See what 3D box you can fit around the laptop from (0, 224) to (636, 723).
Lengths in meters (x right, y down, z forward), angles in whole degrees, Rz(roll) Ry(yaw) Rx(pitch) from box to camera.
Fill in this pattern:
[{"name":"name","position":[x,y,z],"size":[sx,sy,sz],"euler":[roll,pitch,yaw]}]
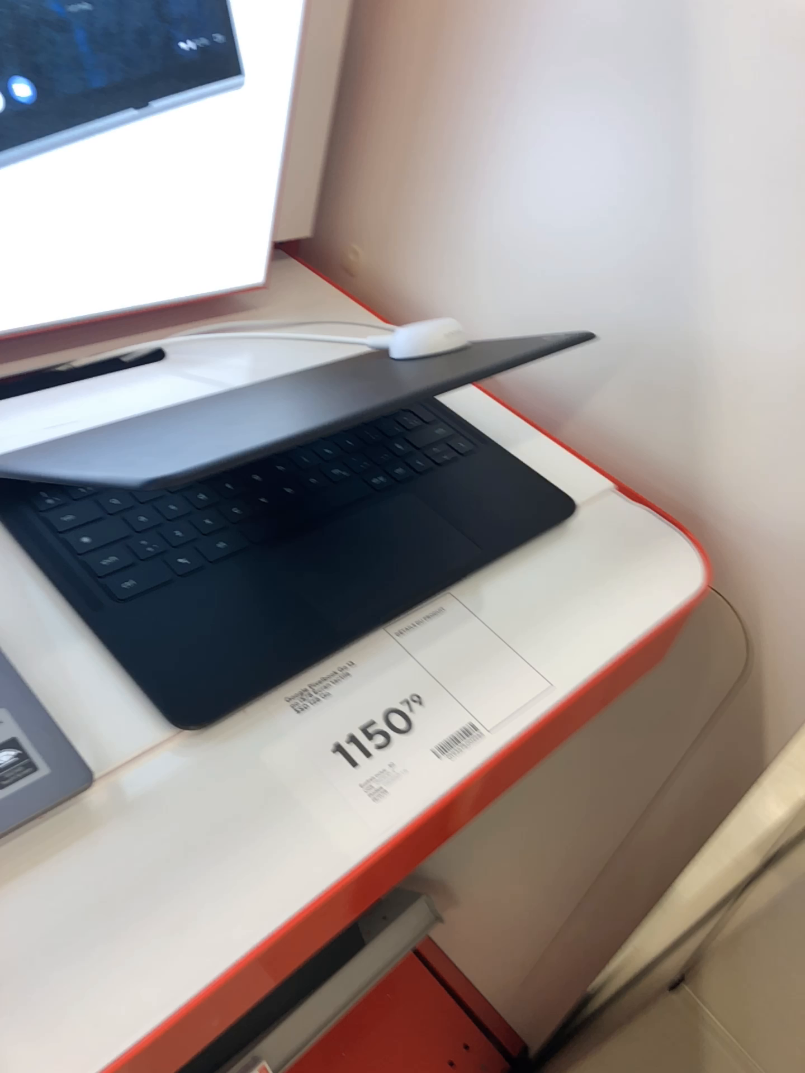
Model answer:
[{"name":"laptop","position":[-0.047,-0.066,0.497],"size":[0.199,0.106,0.299],"euler":[39,44,26]}]
